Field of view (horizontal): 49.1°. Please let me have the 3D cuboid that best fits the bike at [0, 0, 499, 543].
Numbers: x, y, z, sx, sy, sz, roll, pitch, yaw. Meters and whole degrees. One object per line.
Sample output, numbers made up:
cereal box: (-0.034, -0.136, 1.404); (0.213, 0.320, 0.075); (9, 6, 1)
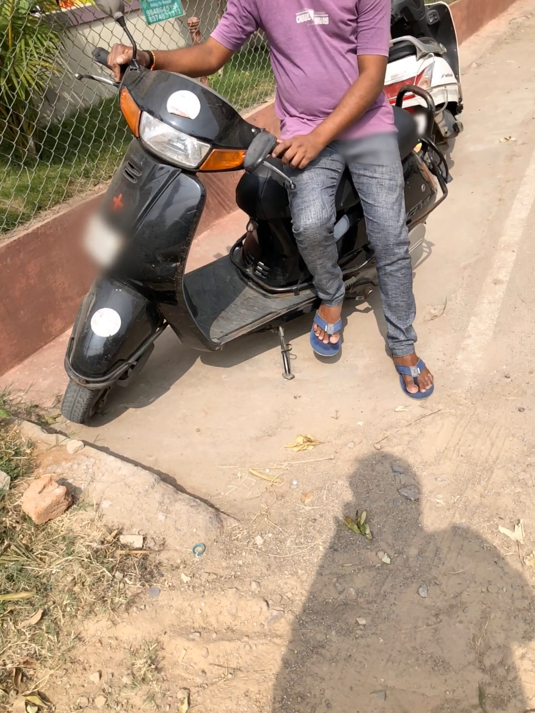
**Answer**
bike: (-0.024, -0.436, 1.920); (1.553, 1.154, 0.709); (-31, 39, -28)
